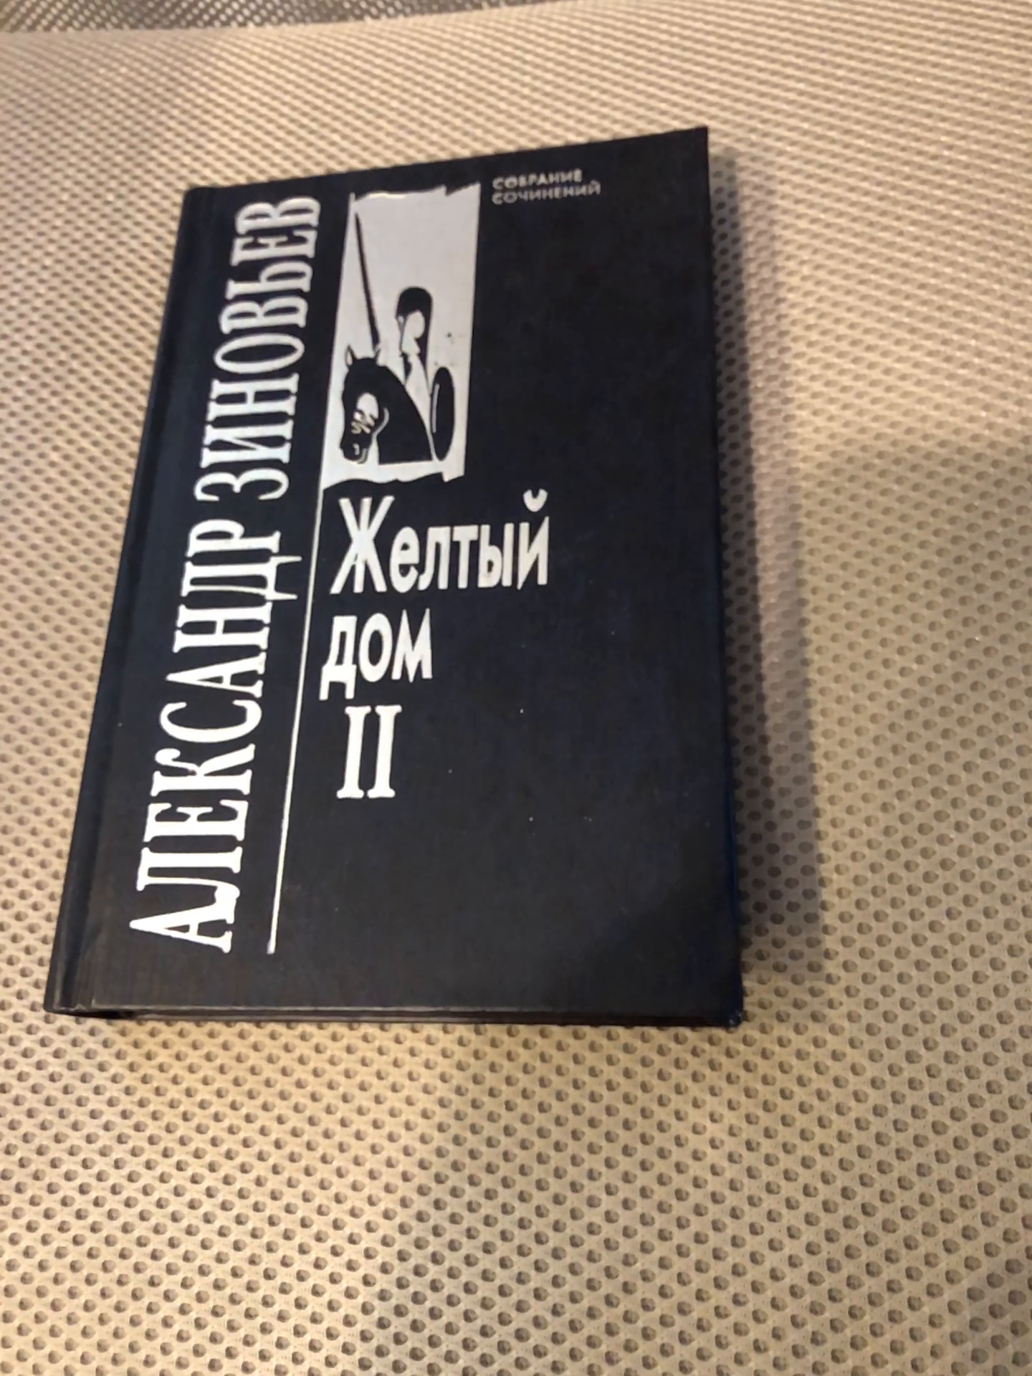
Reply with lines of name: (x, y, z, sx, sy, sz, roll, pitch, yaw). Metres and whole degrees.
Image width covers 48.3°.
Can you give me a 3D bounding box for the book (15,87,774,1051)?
book: (-0.020, -0.032, 0.255, 0.140, 0.030, 0.211, -2, 69, 10)
